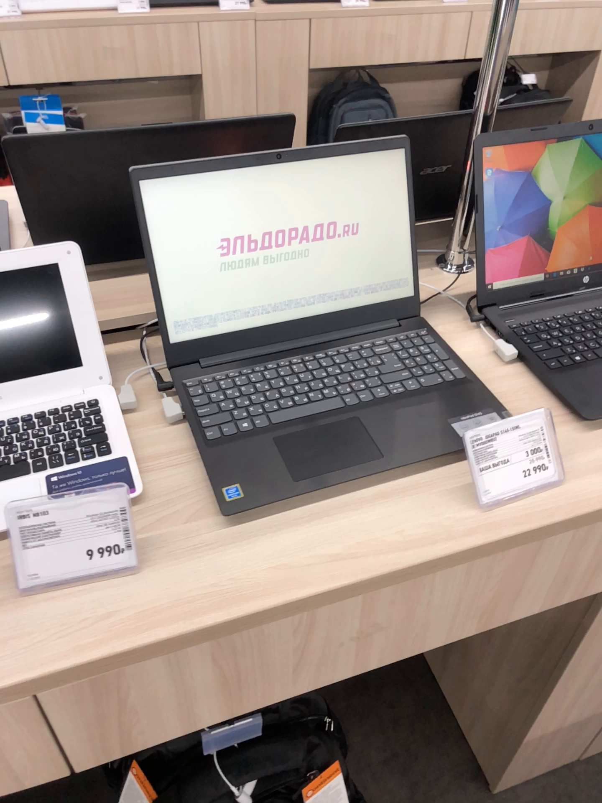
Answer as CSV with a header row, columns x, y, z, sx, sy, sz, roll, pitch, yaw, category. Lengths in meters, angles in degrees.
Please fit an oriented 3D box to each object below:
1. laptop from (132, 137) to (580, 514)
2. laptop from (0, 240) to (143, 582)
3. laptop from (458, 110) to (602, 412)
x,y,z,sx,sy,sz,roll,pitch,yaw,category
0.032,-0.116,0.750,0.355,0.212,0.342,-13,43,-18,laptop
-0.340,-0.015,0.680,0.279,0.139,0.290,-14,43,-18,laptop
0.470,-0.204,0.860,0.374,0.206,0.322,-12,43,-16,laptop
